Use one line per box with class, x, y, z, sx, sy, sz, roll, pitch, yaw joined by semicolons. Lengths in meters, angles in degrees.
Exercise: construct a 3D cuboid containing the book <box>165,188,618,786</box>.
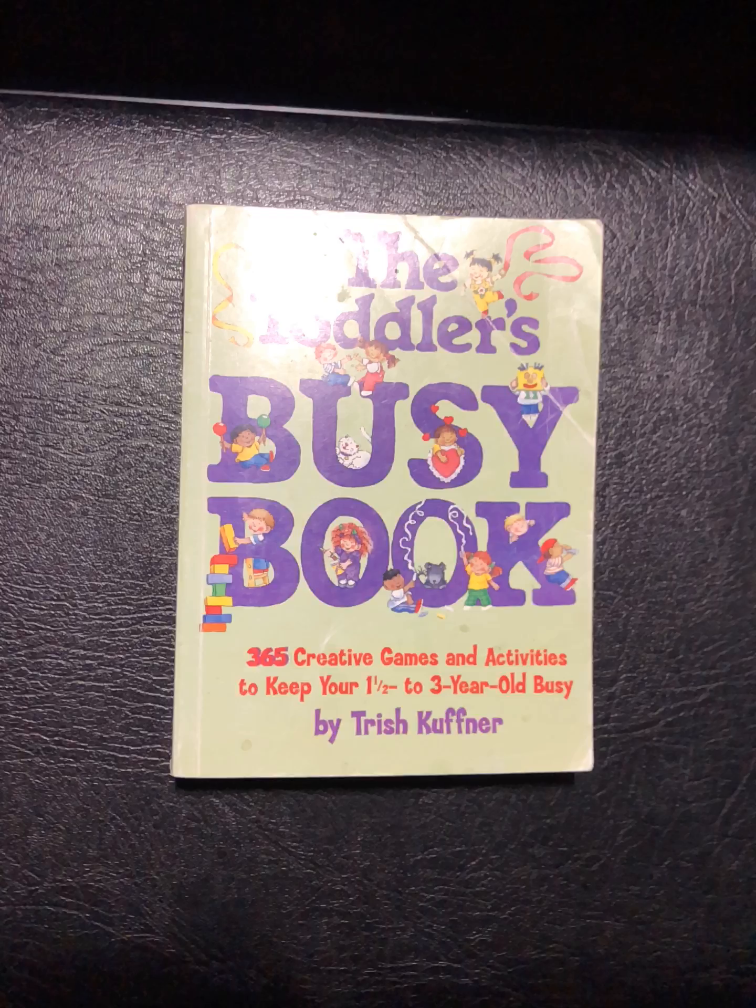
book;0.005;-0.005;0.270;0.136;0.033;0.176;1;87;-6
